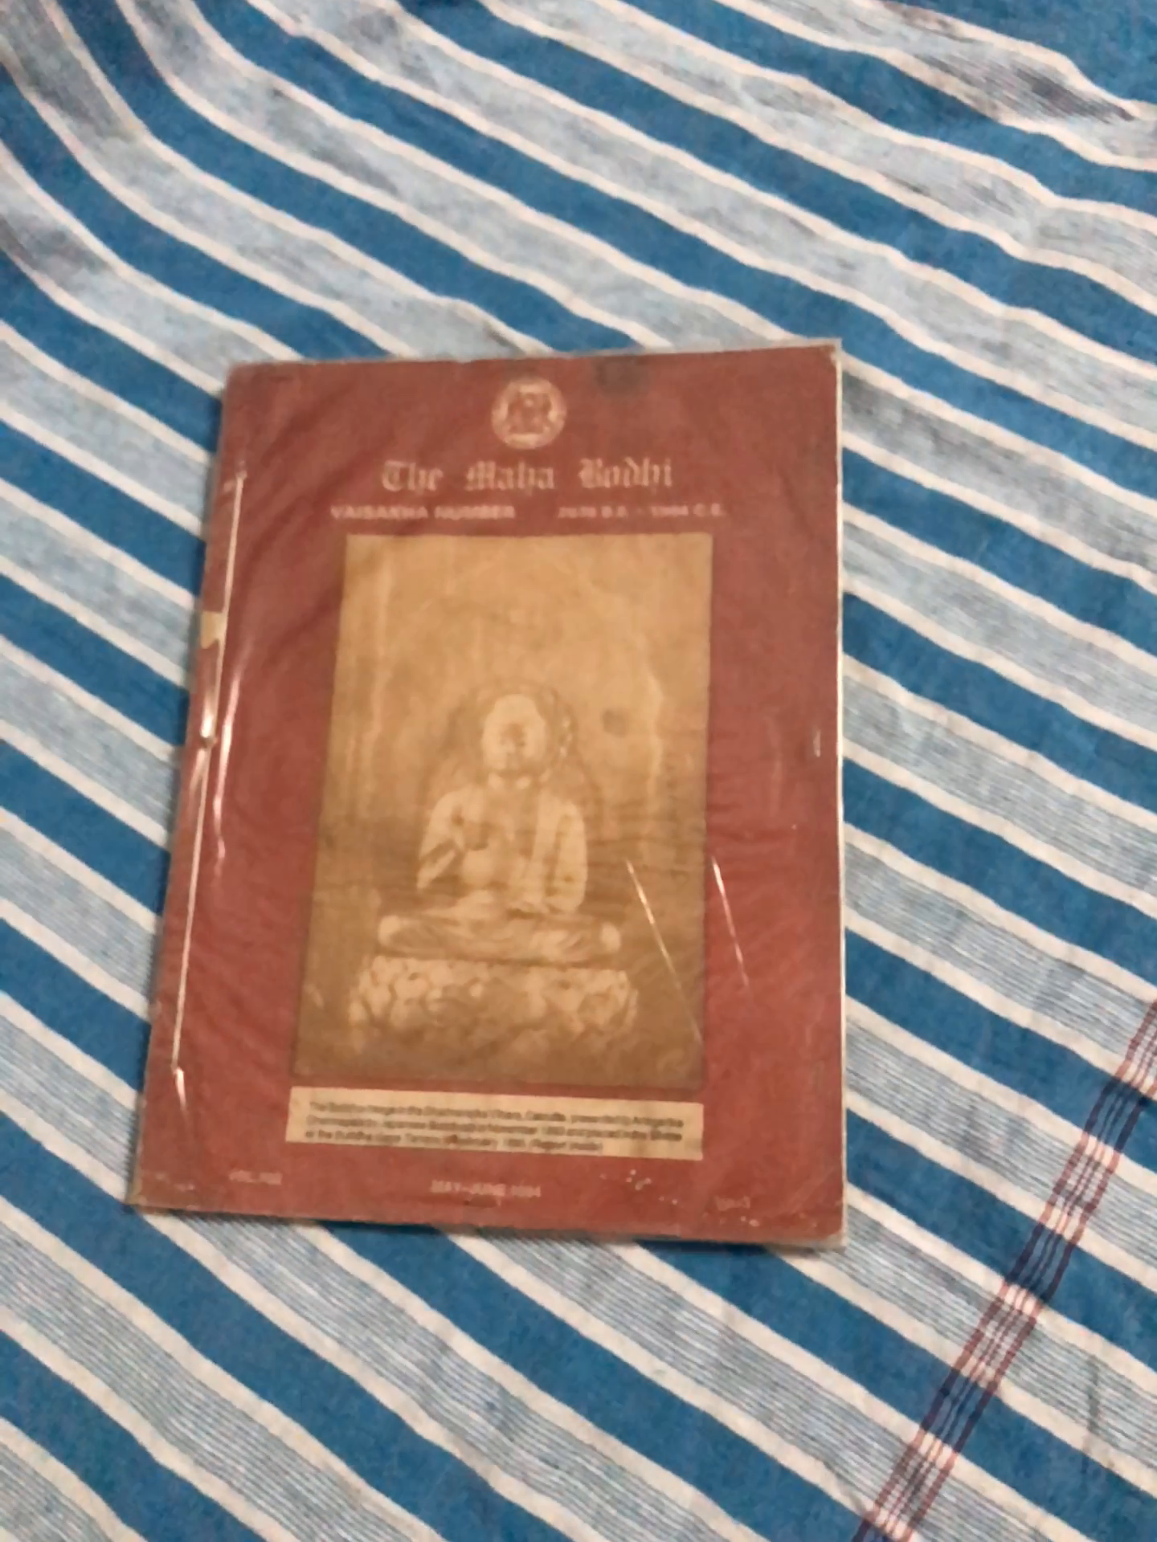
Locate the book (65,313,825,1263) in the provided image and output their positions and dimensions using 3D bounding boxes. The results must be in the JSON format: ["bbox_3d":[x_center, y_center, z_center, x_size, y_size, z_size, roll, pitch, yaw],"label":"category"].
[{"bbox_3d":[-0.029,-0.006,0.345,0.180,0.020,0.250,0,74,5],"label":"book"}]
